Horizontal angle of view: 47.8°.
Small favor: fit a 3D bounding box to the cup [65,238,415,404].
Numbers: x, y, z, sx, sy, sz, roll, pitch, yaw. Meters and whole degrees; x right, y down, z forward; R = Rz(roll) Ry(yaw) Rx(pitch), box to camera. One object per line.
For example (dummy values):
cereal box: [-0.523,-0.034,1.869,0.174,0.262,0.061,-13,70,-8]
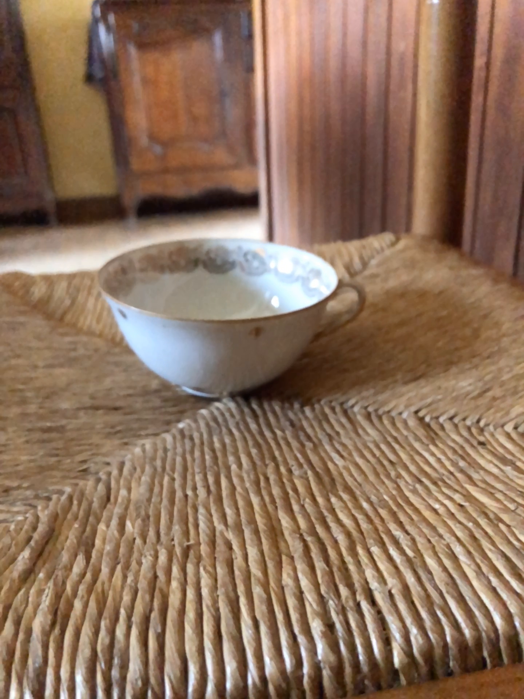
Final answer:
cup: [-0.016,-0.023,0.302,0.140,0.040,0.131,2,22,-1]
